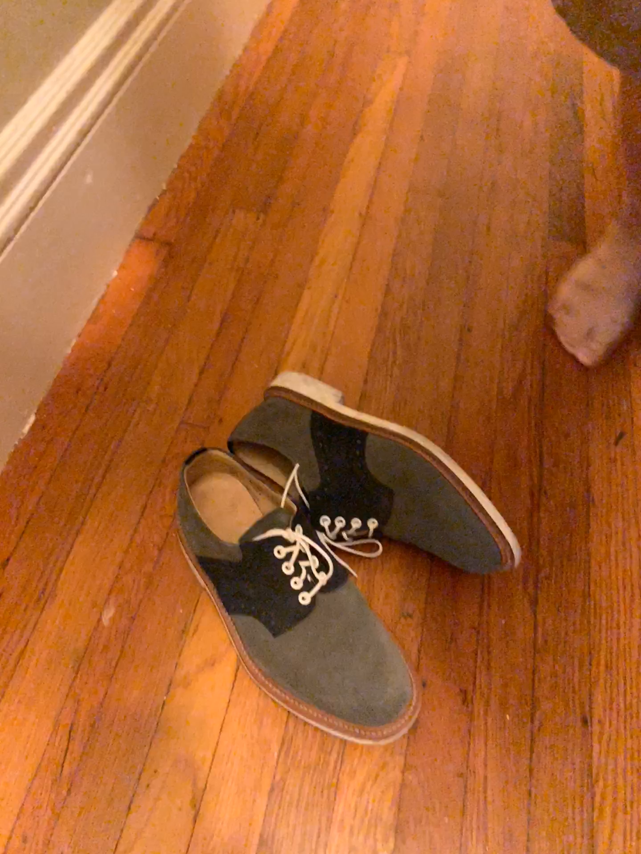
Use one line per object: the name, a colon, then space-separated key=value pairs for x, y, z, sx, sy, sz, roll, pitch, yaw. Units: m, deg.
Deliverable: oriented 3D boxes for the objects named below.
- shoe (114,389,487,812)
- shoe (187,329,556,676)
shoe: x=-0.030 y=0.130 z=0.551 sx=0.130 sy=0.100 sz=0.311 roll=-31 pitch=64 yaw=-21
shoe: x=0.035 y=0.065 z=0.620 sx=0.311 sy=0.130 sz=0.120 roll=38 pitch=65 yaw=19
